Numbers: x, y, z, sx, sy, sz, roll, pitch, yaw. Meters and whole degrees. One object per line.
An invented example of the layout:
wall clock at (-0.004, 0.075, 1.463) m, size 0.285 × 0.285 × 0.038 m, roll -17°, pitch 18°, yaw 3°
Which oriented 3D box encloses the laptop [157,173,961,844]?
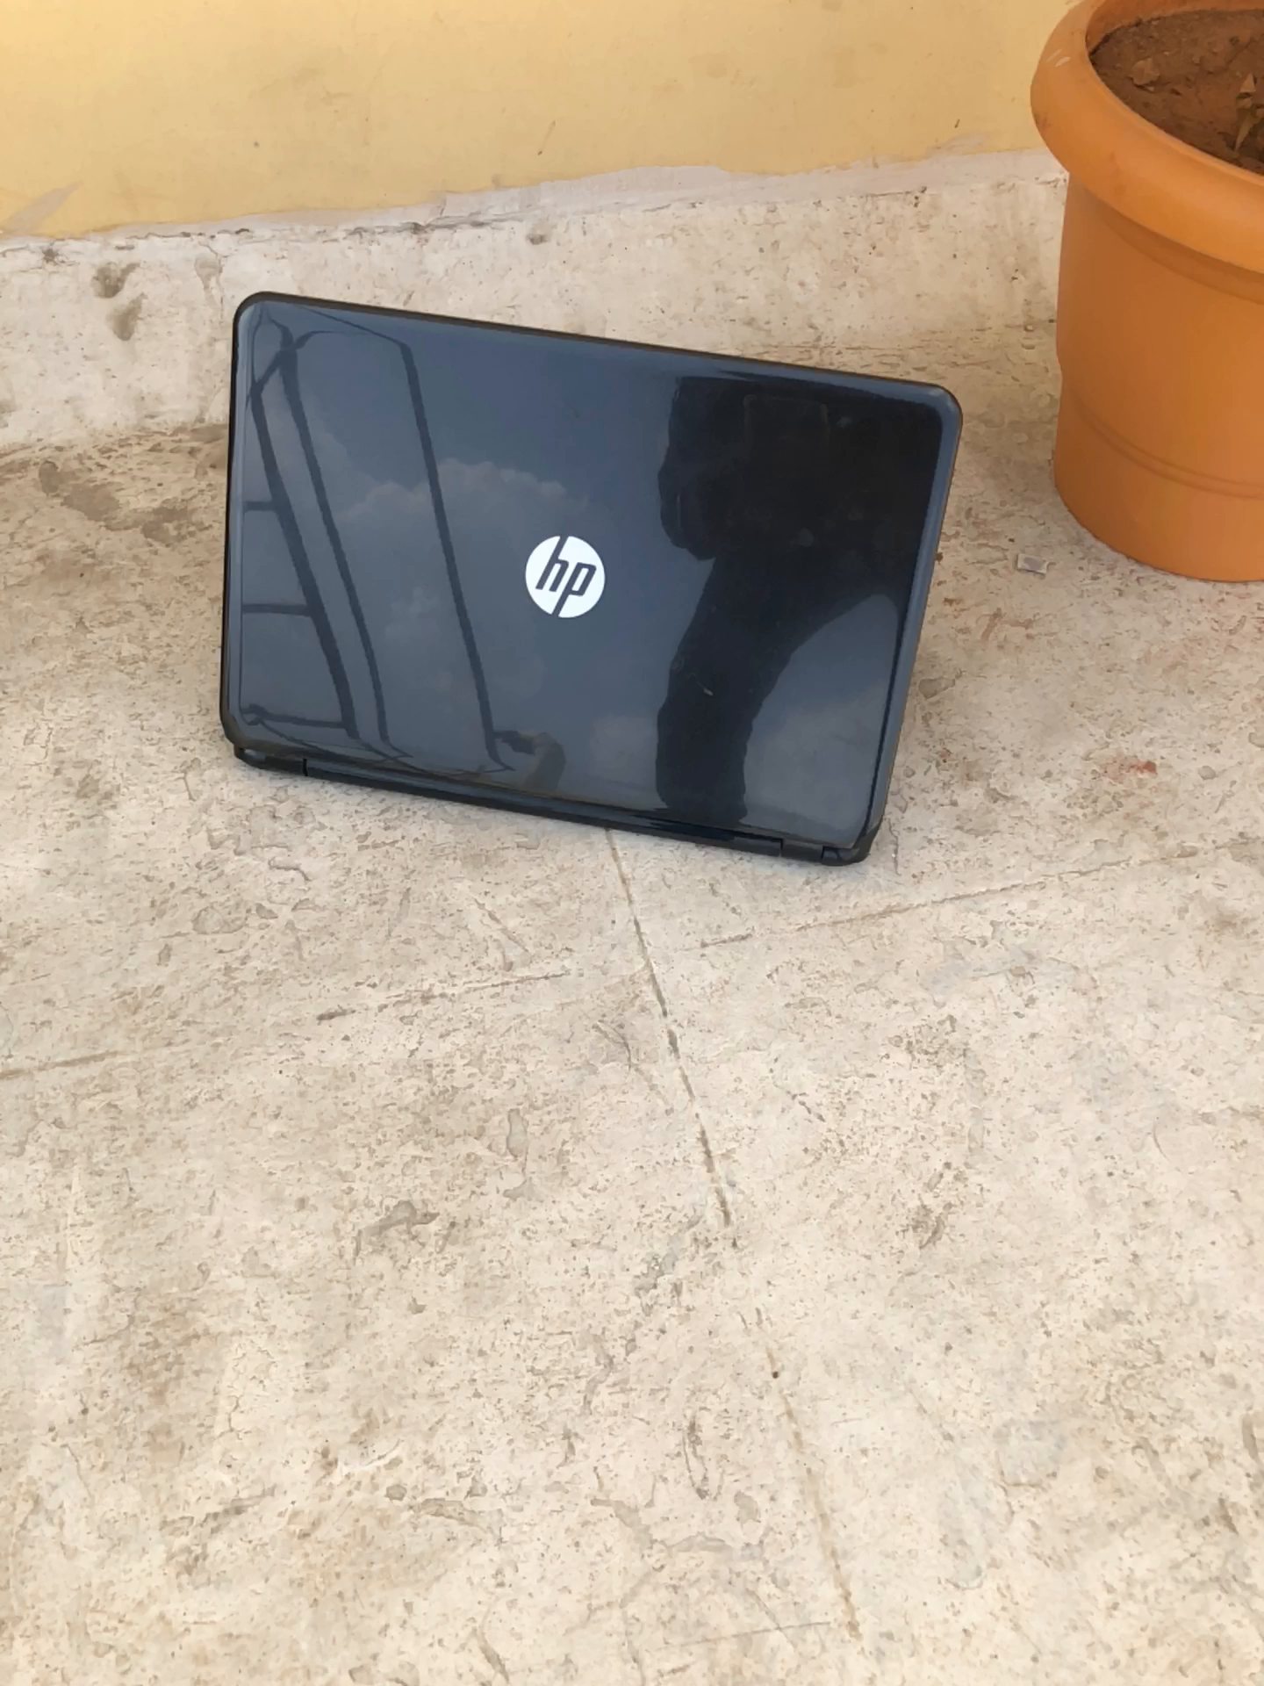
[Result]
laptop at (-0.025, -0.179, 0.745) m, size 0.344 × 0.189 × 0.222 m, roll 10°, pitch 55°, yaw 5°
